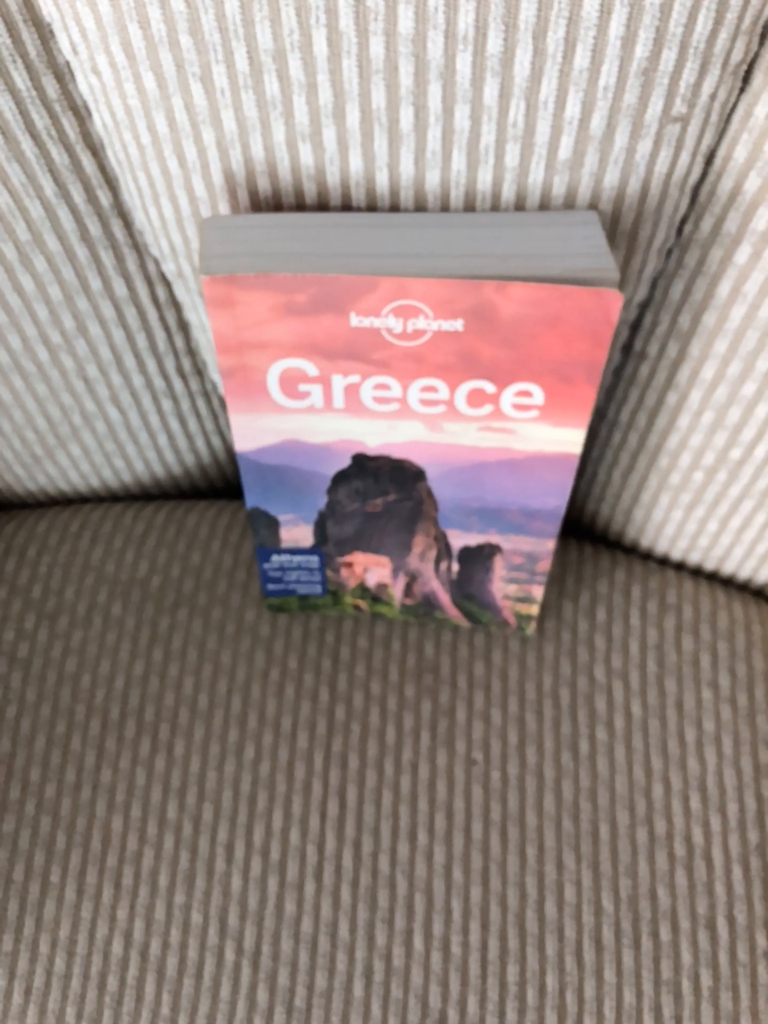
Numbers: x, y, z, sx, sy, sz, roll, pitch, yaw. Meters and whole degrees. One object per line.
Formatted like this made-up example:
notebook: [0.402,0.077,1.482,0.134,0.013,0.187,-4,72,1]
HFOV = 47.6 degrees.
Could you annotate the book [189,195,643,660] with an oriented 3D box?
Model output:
book: [0.011,-0.017,0.343,0.132,0.201,0.041,6,51,5]
